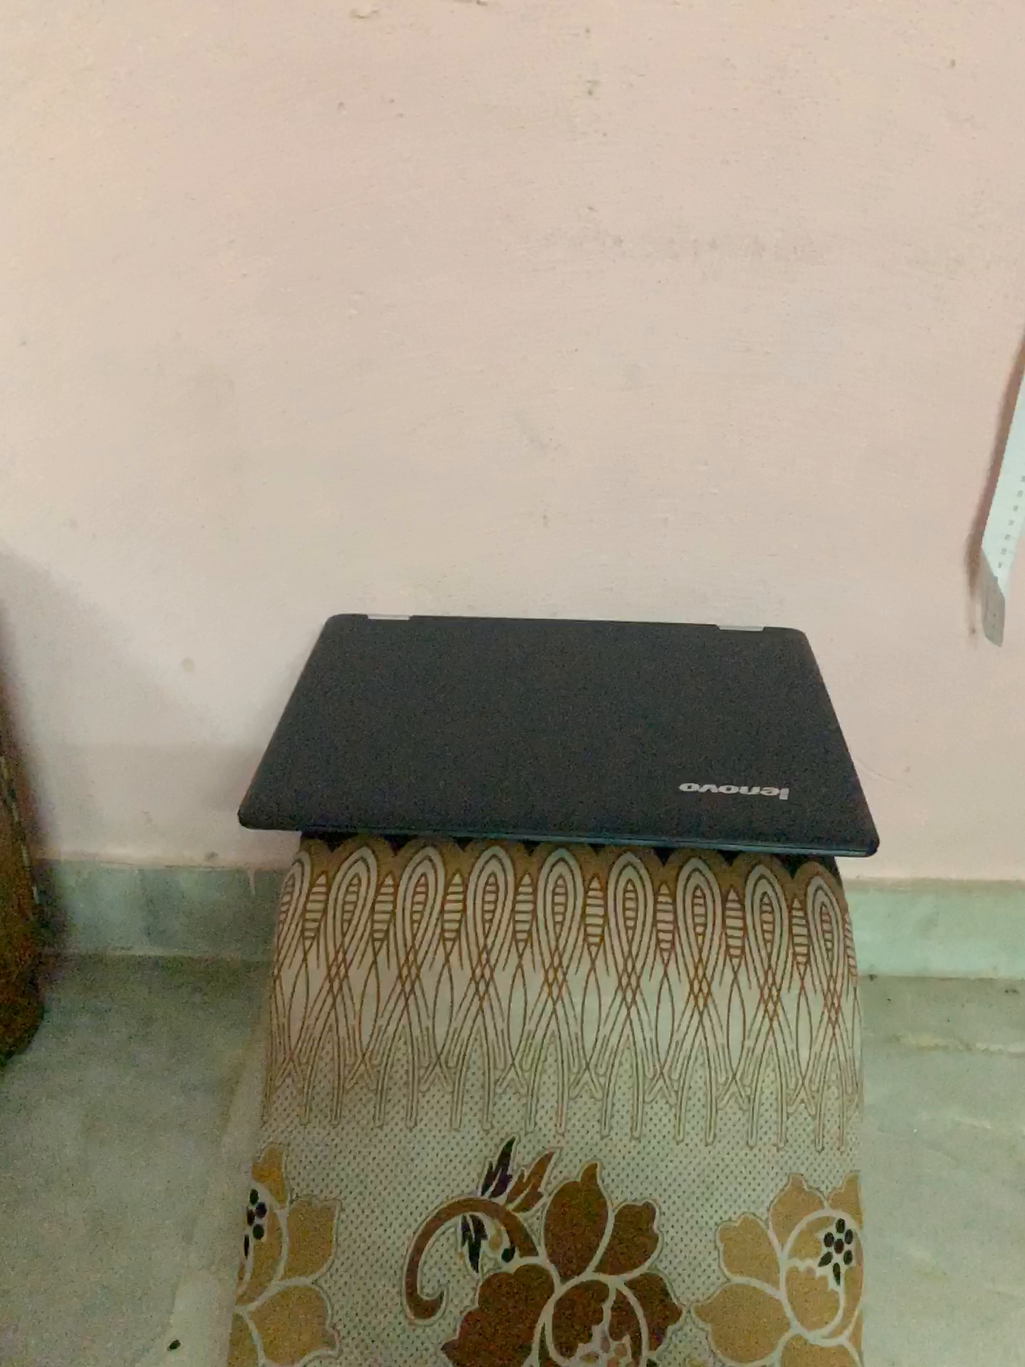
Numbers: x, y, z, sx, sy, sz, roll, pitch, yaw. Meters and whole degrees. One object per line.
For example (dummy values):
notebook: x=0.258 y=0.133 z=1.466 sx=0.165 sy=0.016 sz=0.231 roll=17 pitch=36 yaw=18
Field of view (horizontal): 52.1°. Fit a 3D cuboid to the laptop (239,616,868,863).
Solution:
laptop: x=0.026 y=0.022 z=0.614 sx=0.312 sy=0.012 sz=0.214 roll=2 pitch=33 yaw=3
